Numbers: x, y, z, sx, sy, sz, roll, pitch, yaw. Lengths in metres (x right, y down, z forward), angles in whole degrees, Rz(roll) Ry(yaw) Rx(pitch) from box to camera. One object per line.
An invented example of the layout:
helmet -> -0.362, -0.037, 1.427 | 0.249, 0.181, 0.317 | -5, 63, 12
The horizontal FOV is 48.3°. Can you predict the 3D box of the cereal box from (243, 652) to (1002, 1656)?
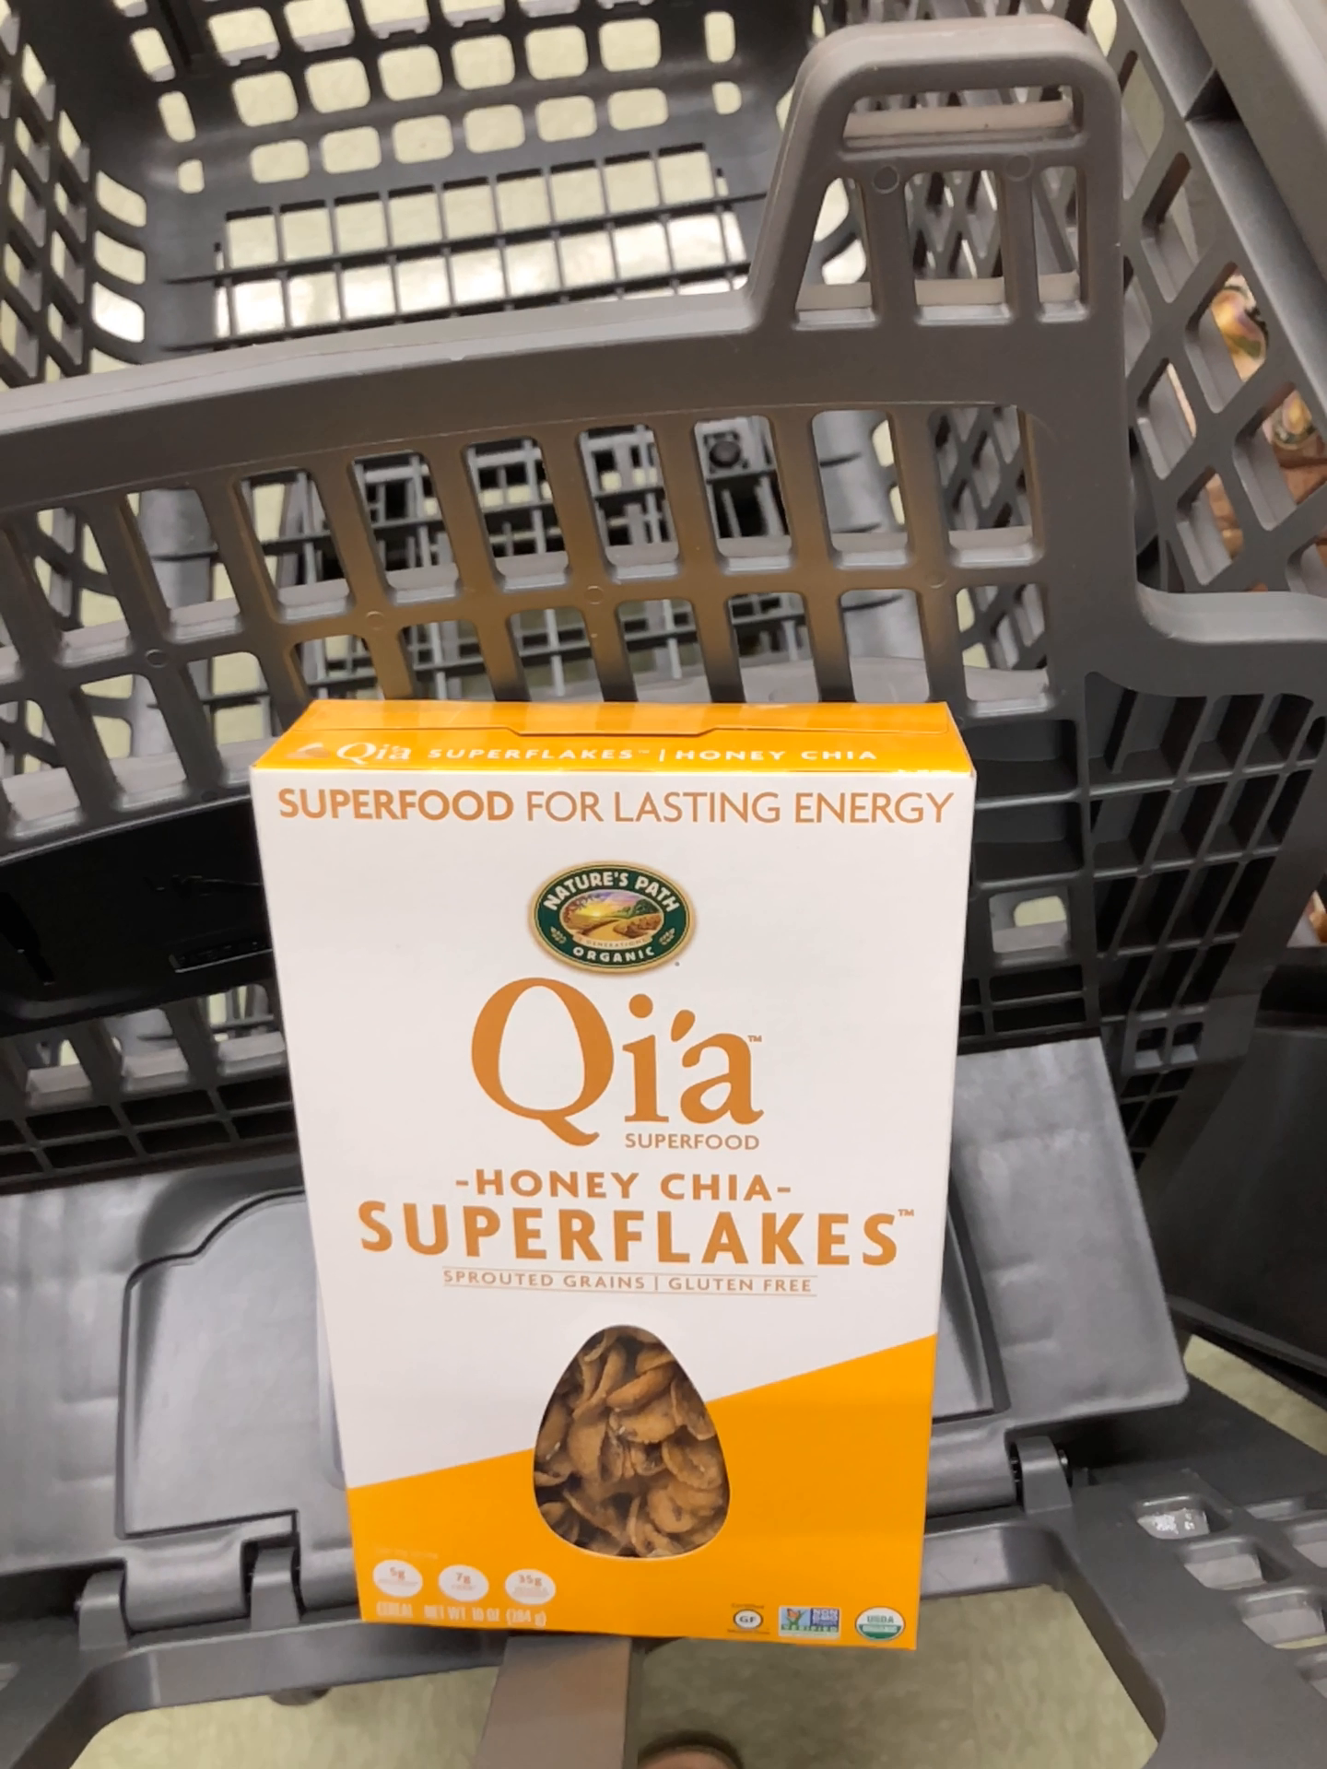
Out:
cereal box -> -0.007, 0.076, 0.393 | 0.160, 0.070, 0.260 | 1, 112, 4
